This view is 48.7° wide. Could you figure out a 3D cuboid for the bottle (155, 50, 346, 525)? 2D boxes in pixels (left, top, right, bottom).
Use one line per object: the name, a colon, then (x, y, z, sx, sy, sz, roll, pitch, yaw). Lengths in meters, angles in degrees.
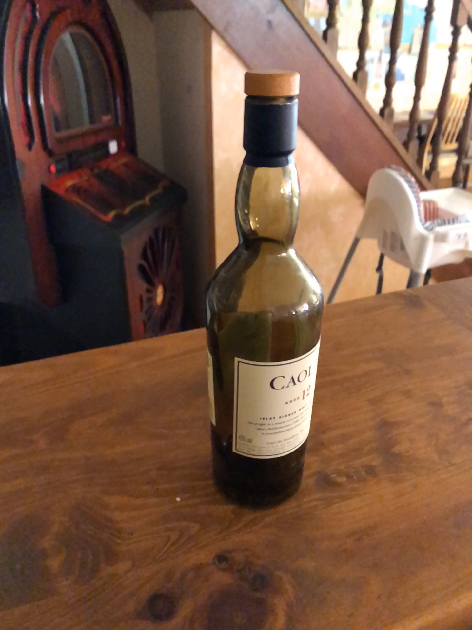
bottle: (0.009, -0.007, 0.347, 0.070, 0.298, 0.081, 17, 33, 28)
